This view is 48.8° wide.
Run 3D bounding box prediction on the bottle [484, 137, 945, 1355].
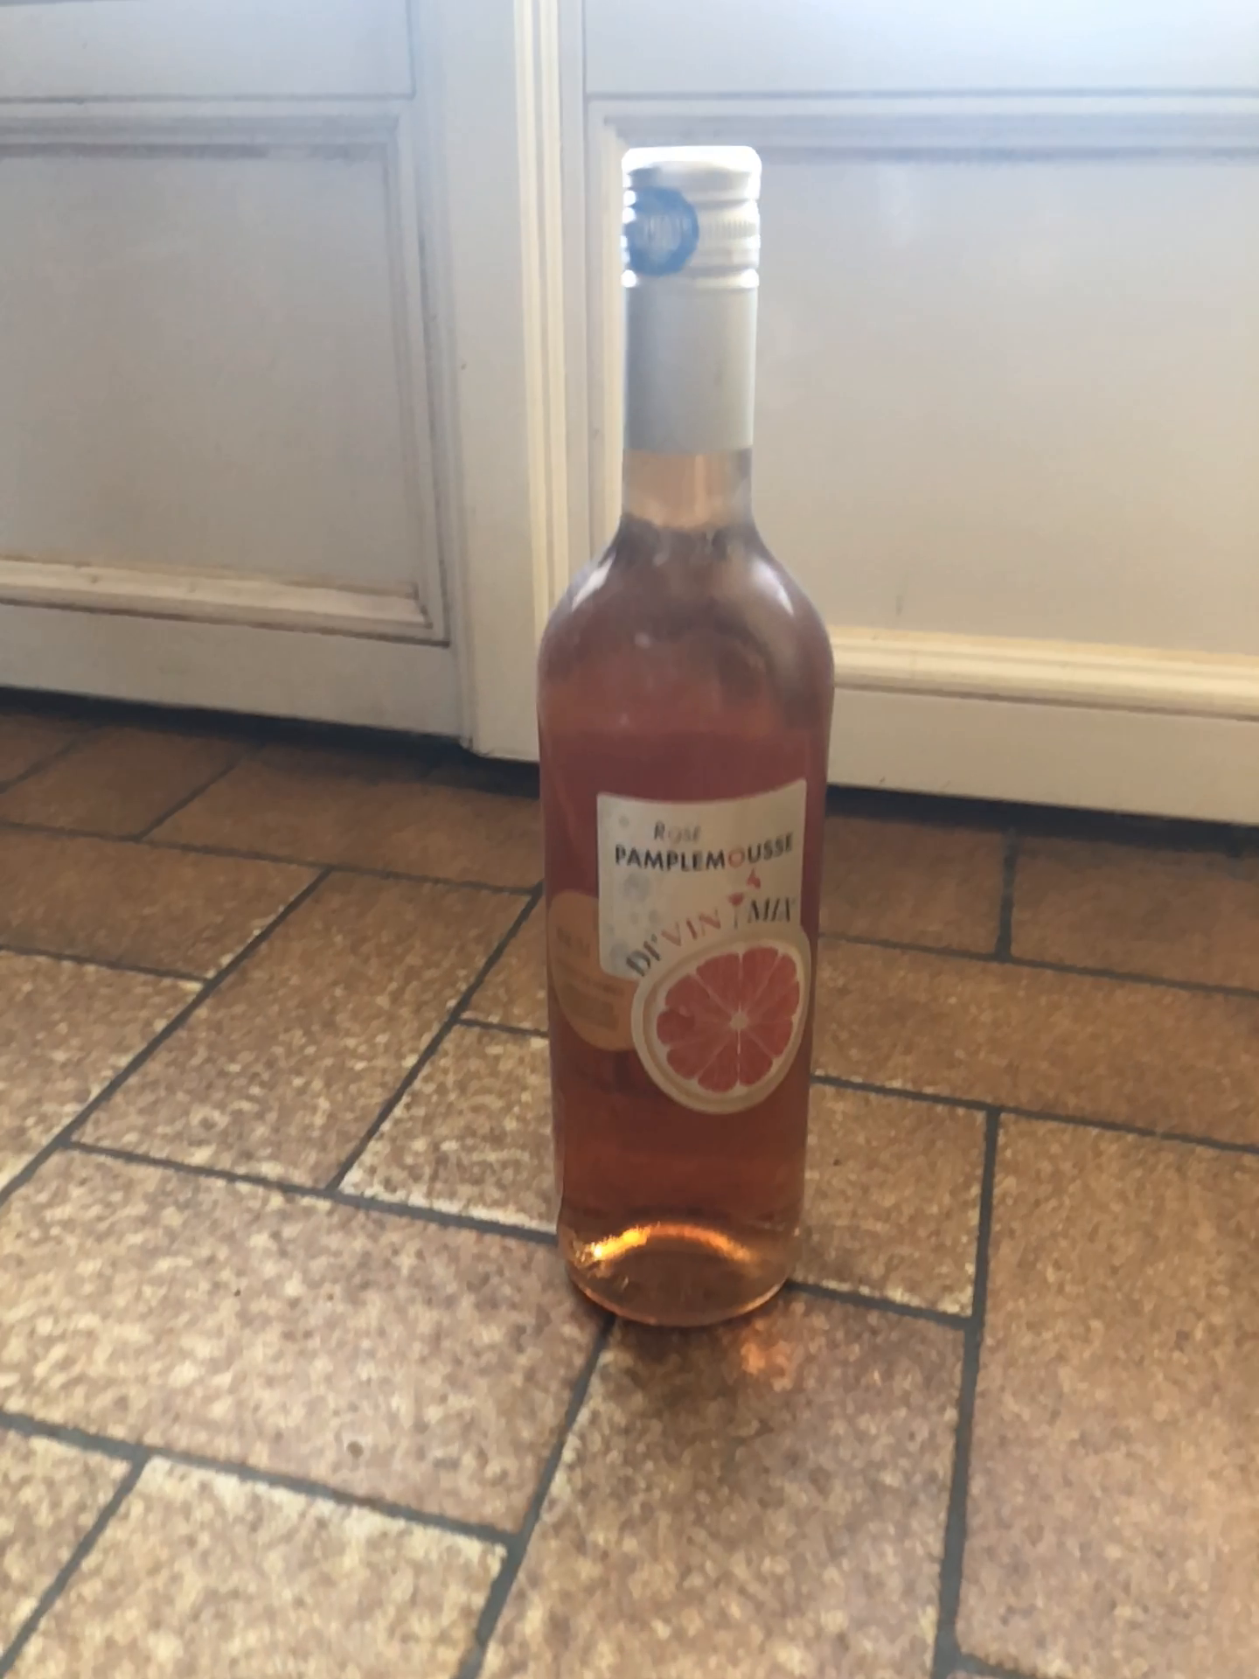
[{"bbox_3d":[0.015,-0.011,0.340,0.080,0.288,0.080,0,26,0],"label":"bottle"}]
